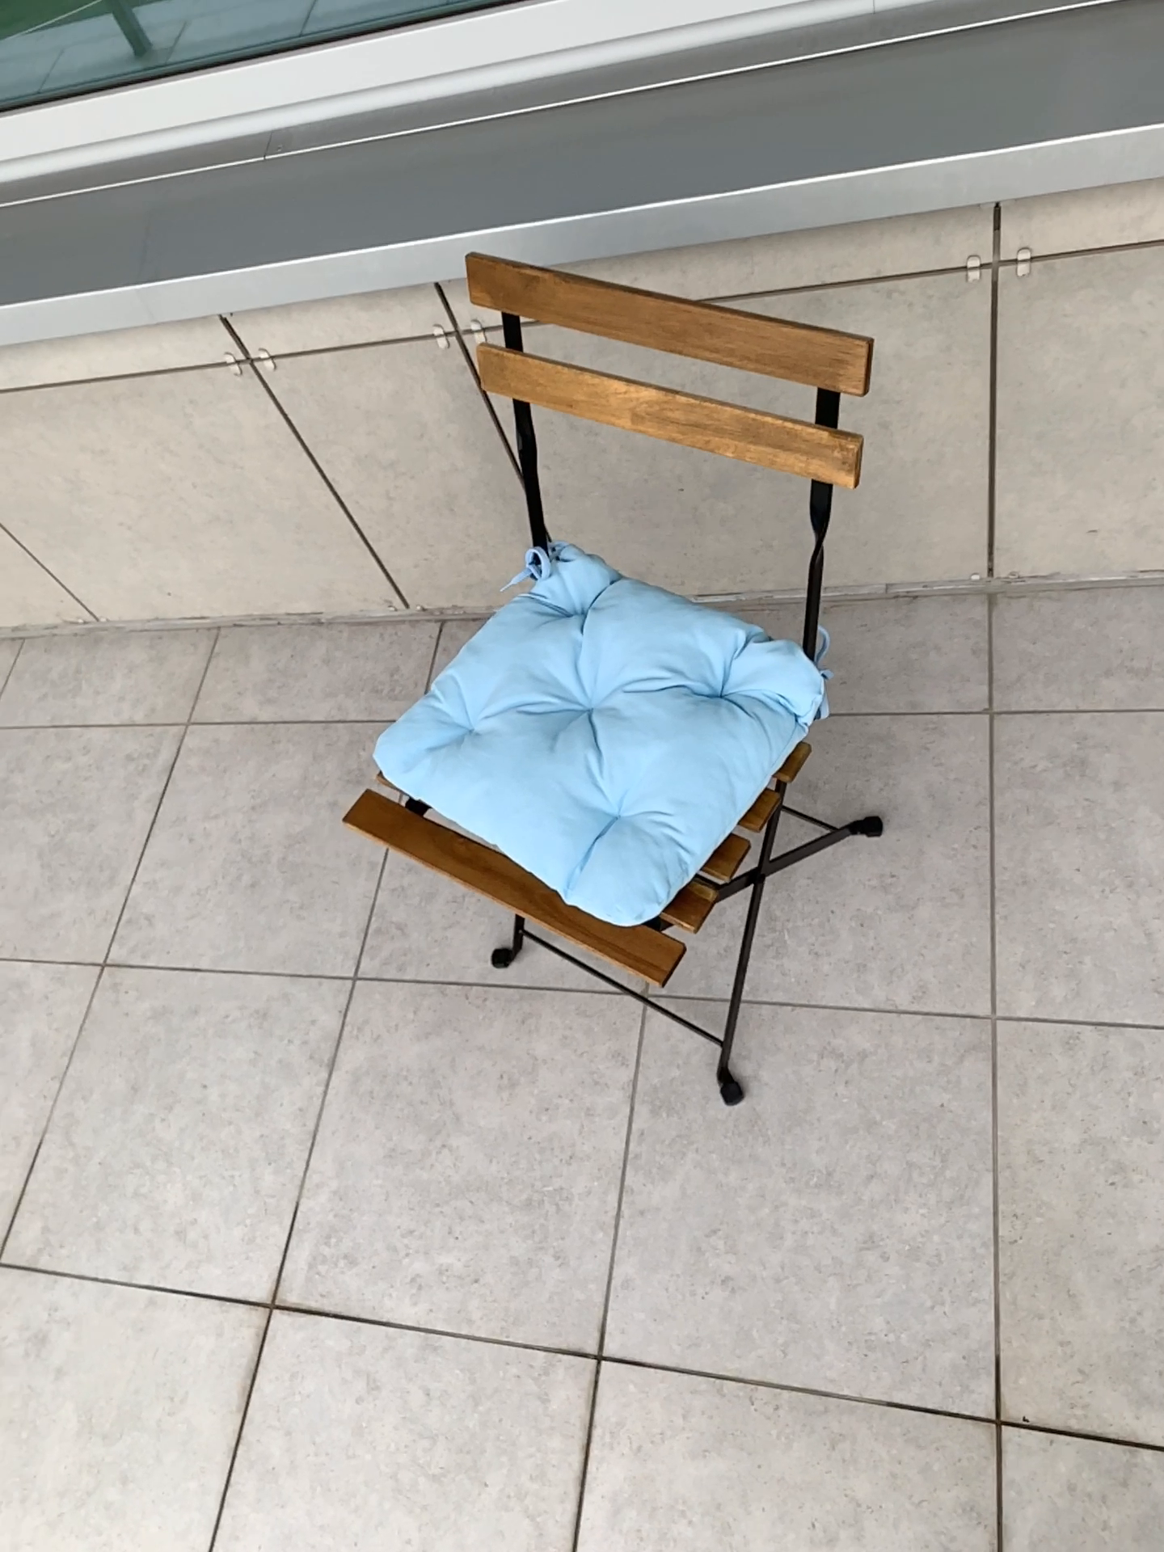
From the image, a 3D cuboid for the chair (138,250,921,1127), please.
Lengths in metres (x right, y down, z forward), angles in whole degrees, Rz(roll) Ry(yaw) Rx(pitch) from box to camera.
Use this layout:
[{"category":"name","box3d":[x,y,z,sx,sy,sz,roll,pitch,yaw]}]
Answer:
[{"category":"chair","box3d":[0.036,-0.039,1.225,0.418,0.749,0.452,24,70,29]}]
